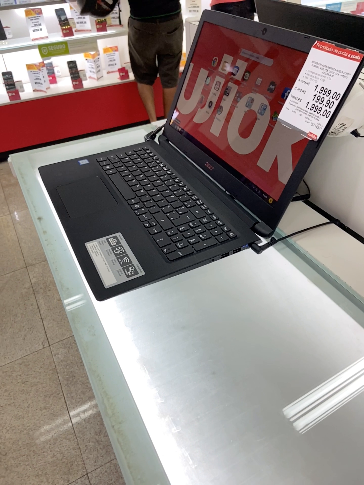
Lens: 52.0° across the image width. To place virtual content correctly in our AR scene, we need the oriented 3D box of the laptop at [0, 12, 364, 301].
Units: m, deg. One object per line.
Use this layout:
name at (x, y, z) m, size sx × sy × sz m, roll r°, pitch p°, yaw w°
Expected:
laptop at (-0.035, -0.184, 0.584) m, size 0.370 × 0.230 × 0.393 m, roll -19°, pitch 43°, yaw -20°
